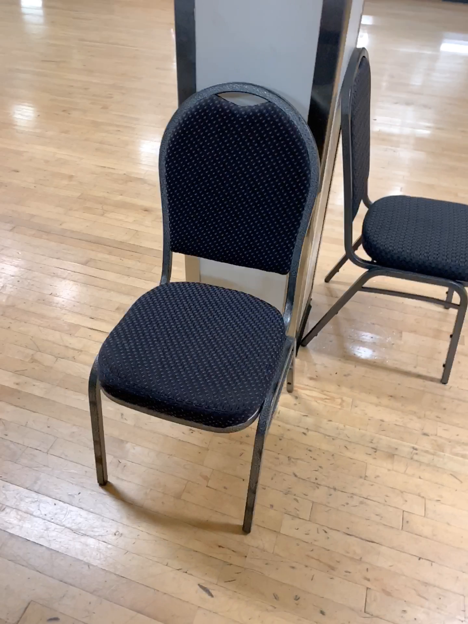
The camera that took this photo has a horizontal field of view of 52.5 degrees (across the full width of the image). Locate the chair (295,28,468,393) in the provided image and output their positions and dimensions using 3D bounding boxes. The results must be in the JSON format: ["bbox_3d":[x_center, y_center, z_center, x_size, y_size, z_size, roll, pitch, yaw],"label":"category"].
[{"bbox_3d":[0.571,-0.290,1.492,0.553,0.921,0.463,15,43,14],"label":"chair"}]

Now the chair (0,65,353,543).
[{"bbox_3d":[-0.075,0.007,1.140,0.461,0.921,0.556,14,43,13],"label":"chair"}]
